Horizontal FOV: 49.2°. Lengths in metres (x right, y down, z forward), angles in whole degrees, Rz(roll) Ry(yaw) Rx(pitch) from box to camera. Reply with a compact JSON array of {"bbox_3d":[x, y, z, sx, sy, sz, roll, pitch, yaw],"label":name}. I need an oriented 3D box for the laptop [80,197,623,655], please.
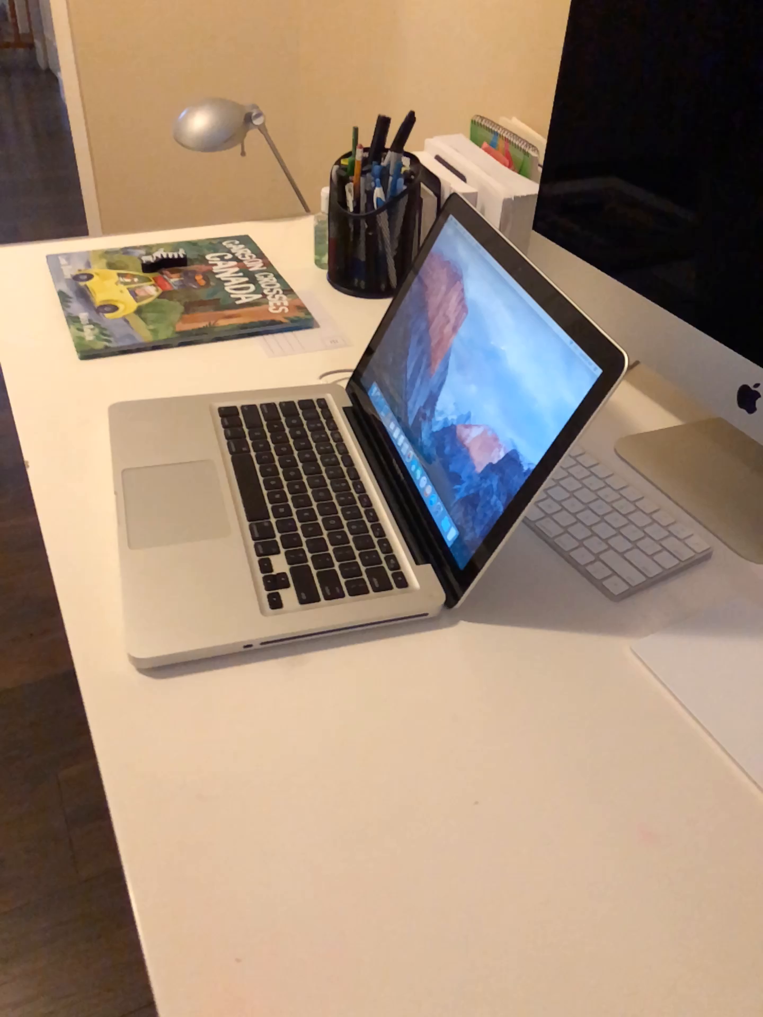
[{"bbox_3d":[-0.050,-0.089,0.641,0.312,0.187,0.304,-8,40,-15],"label":"laptop"}]
